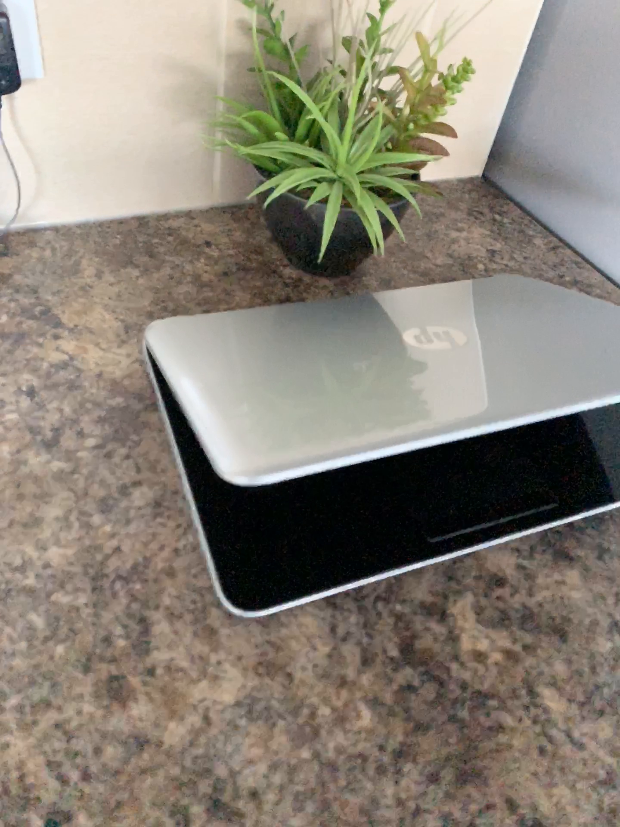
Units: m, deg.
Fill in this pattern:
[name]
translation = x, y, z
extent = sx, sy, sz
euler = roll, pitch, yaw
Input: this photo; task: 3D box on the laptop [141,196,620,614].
[laptop]
translation = 0.080, -0.035, 0.402
extent = 0.329, 0.081, 0.207
euler = -12, 52, -21
